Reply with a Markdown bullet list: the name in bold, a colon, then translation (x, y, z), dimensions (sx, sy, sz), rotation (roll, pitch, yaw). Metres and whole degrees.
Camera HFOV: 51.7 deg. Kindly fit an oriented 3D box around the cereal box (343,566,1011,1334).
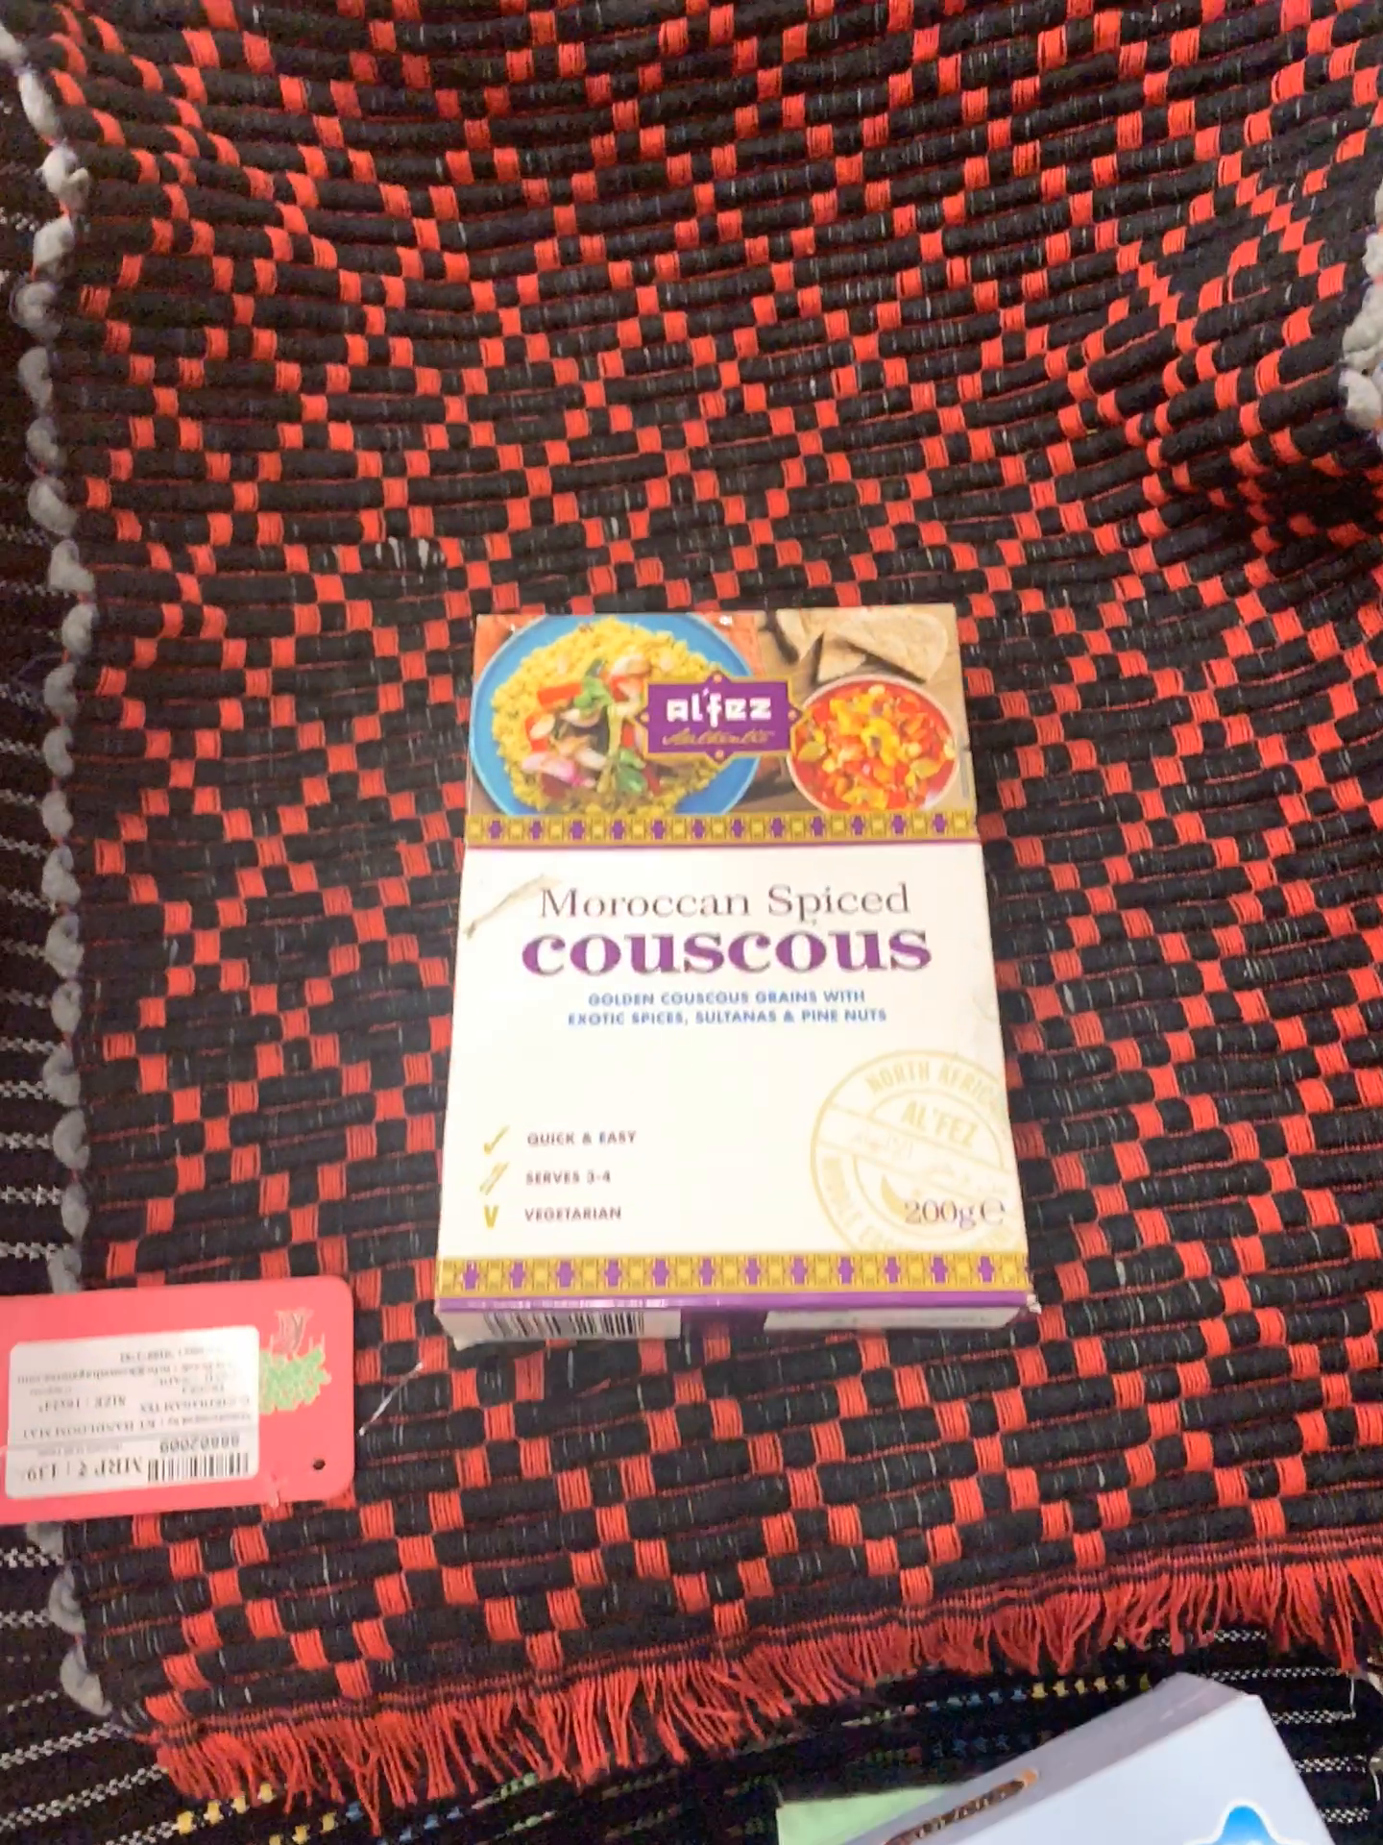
- **cereal box**: translation (-0.003, 0.003, 0.313), dimensions (0.120, 0.050, 0.160), rotation (-1, 65, 1)
